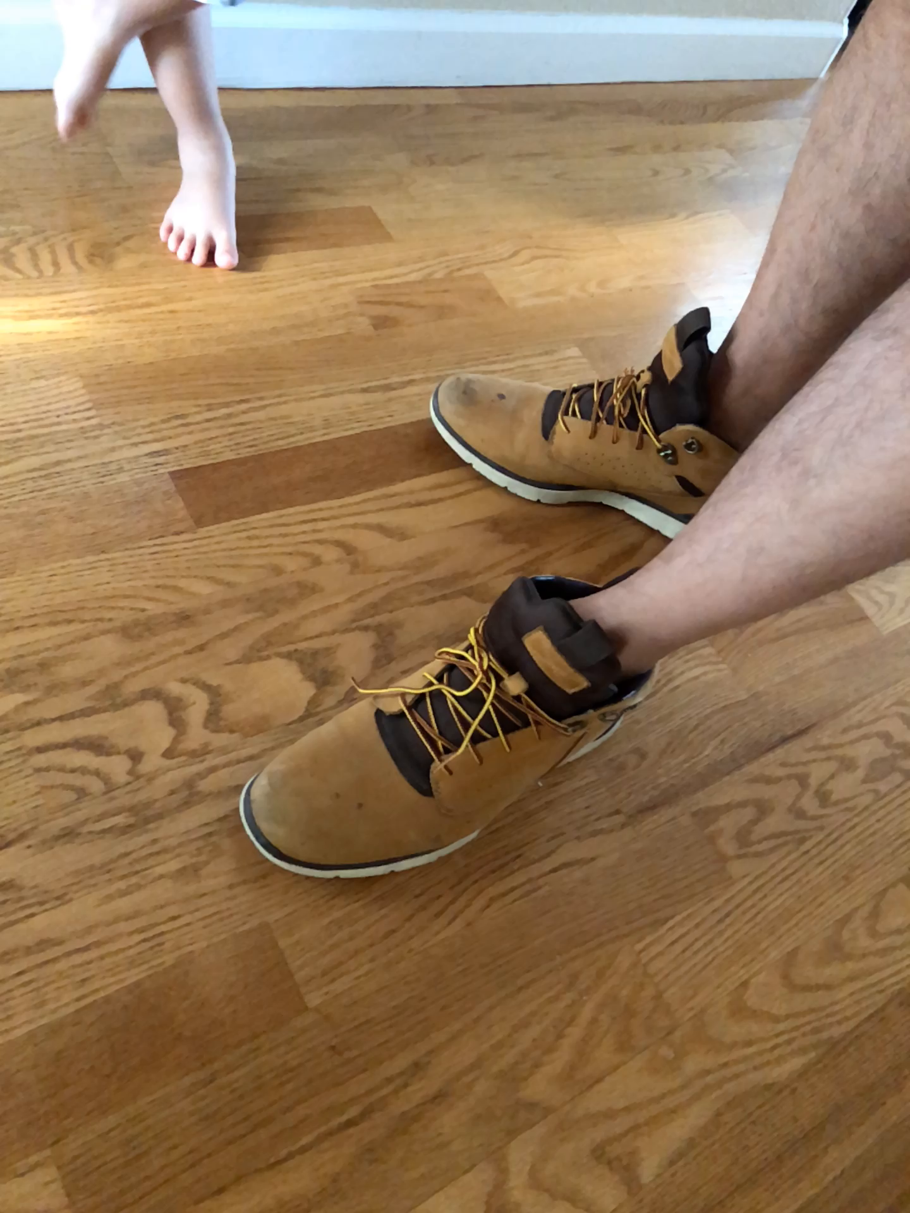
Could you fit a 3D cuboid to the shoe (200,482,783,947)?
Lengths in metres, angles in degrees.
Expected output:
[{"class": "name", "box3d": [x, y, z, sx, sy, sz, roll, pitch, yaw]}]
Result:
[{"class": "shoe", "box3d": [0.021, 0.052, 0.575, 0.291, 0.139, 0.120, -21, 66, -31]}]

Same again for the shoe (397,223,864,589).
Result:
[{"class": "shoe", "box3d": [0.132, -0.149, 0.781, 0.310, 0.149, 0.121, 18, 52, -9]}]
